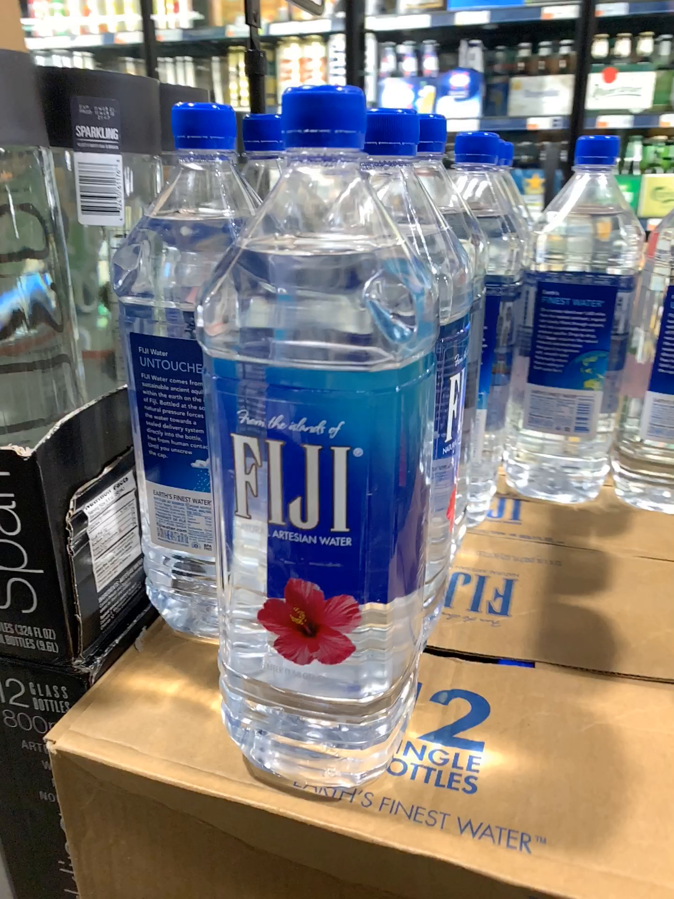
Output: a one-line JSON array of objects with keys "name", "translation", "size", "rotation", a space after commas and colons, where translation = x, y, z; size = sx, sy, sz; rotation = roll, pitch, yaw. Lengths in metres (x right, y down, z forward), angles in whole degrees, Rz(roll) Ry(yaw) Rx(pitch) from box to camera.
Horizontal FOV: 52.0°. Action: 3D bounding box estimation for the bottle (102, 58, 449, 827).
[{"name": "bottle", "translation": [-0.014, 0.006, 0.284], "size": [0.090, 0.279, 0.080], "rotation": [8, 23, 20]}]
